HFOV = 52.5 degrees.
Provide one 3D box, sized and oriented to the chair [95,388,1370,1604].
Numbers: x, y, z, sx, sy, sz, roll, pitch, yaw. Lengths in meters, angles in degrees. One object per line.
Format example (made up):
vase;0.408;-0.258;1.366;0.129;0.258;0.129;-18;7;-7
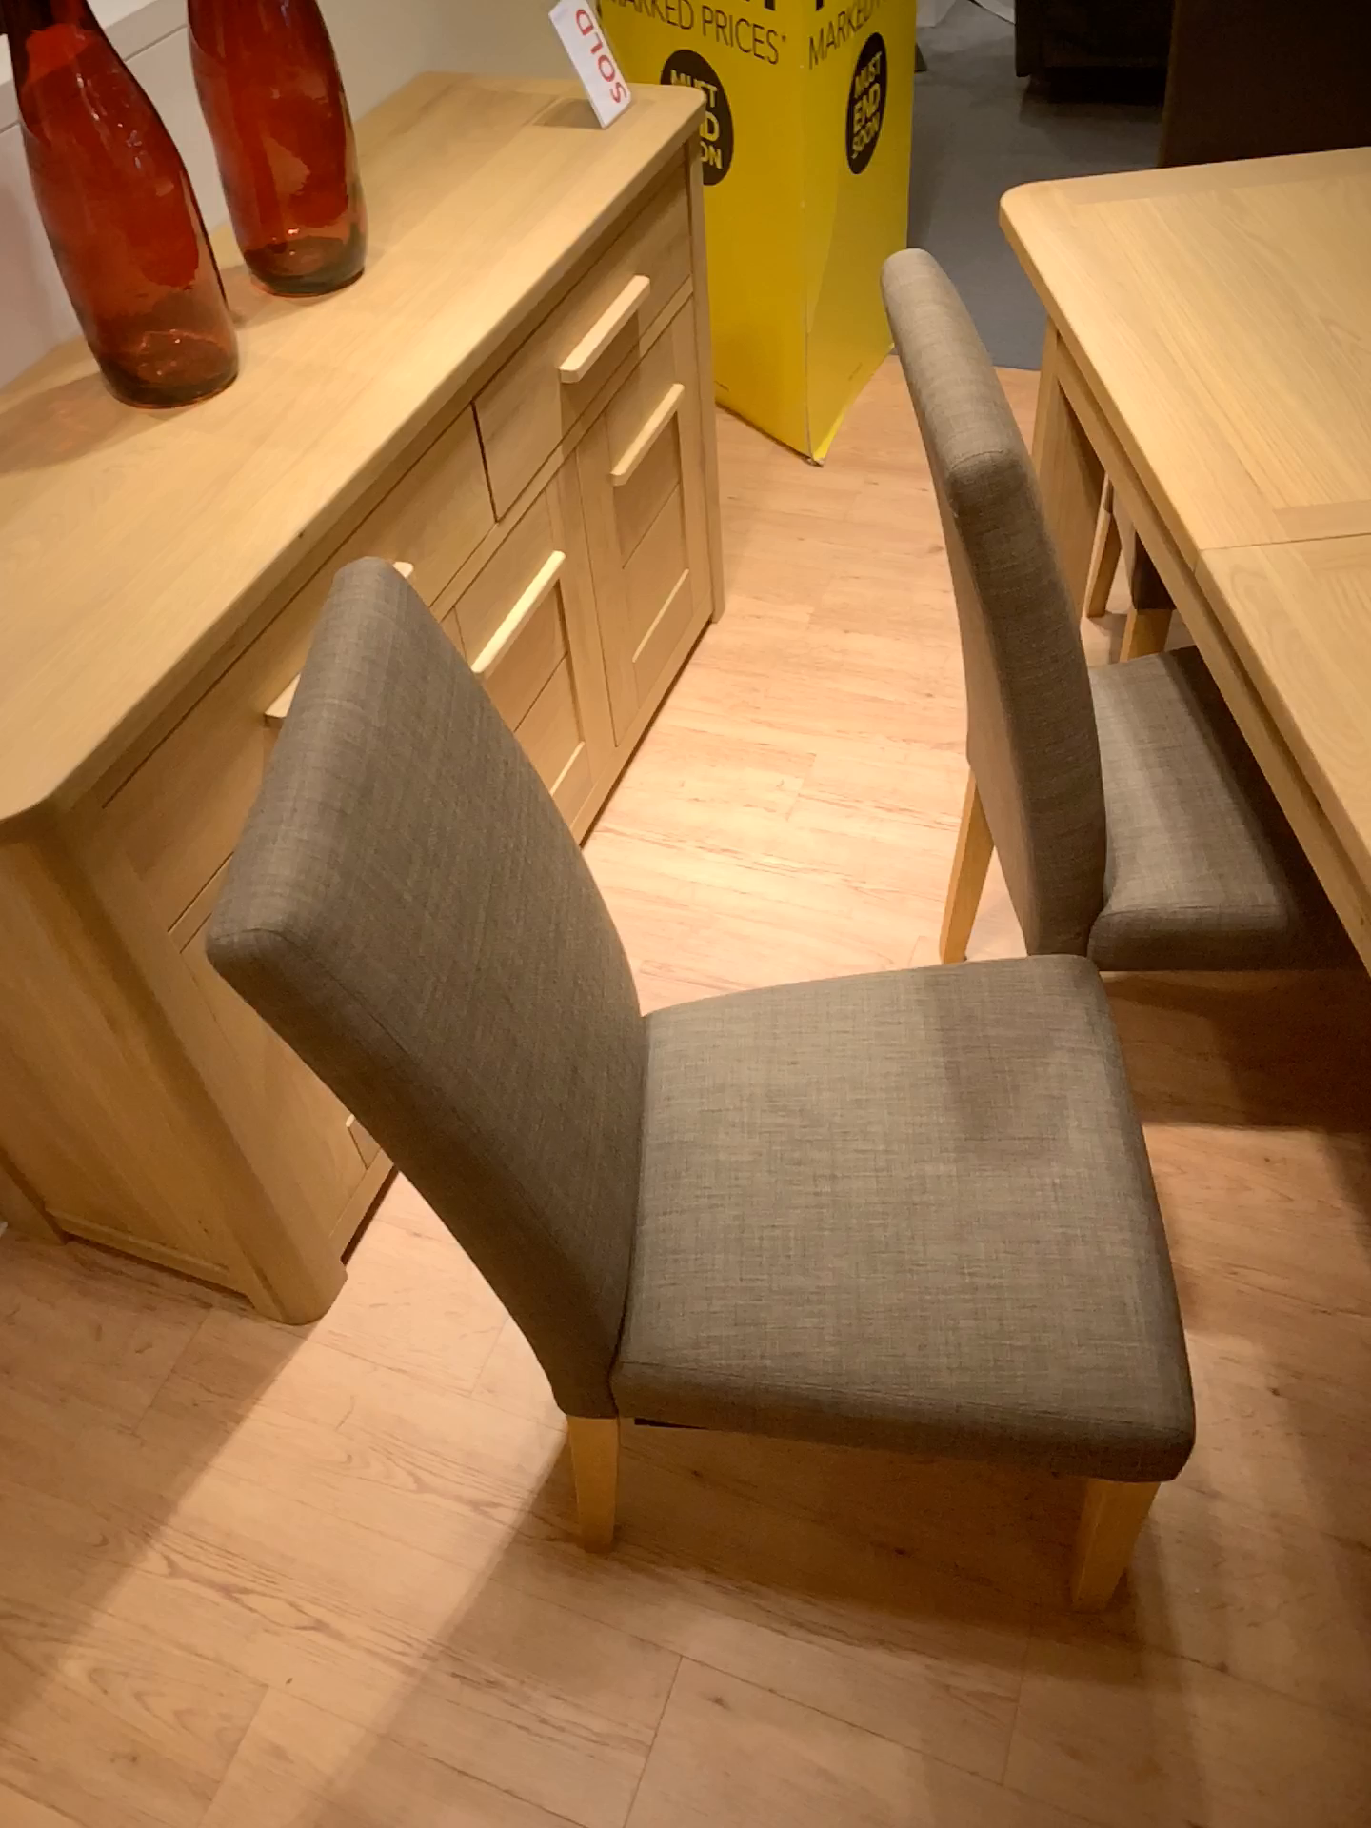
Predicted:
chair;0.069;0.150;1.150;0.610;0.951;0.494;-1;48;5
